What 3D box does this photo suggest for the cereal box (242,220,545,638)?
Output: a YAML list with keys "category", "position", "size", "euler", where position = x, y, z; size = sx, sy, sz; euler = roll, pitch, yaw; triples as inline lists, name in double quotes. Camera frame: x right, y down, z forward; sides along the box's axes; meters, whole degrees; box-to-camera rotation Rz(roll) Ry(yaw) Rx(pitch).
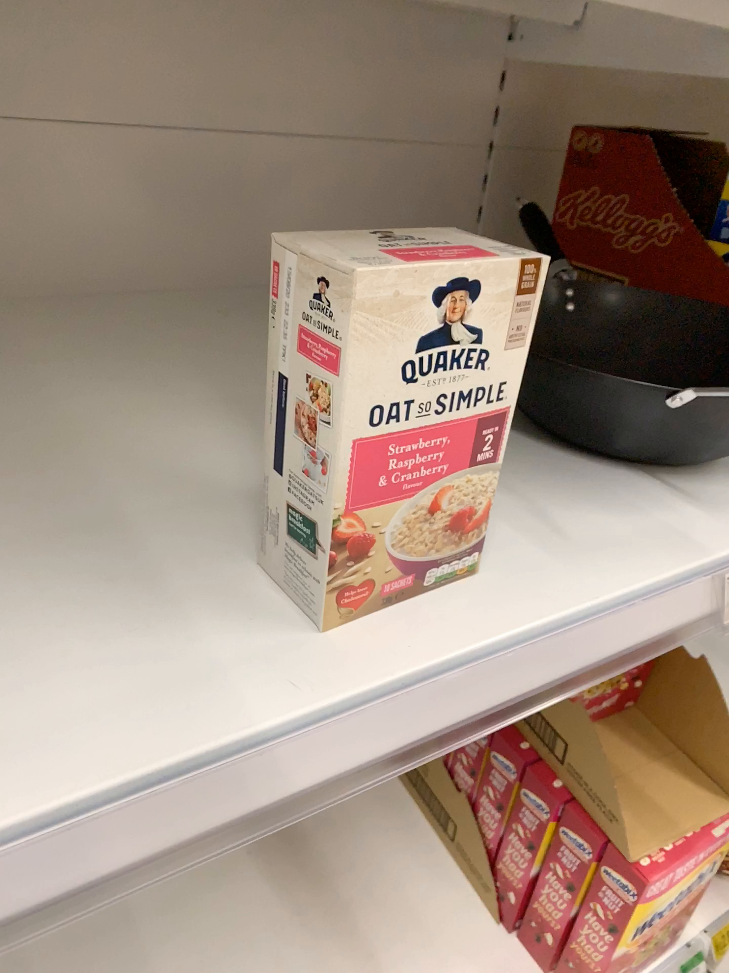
- category: "cereal box"
  position: [0.009, -0.038, 0.439]
  size: [0.131, 0.208, 0.080]
  euler: [-15, 35, -35]
